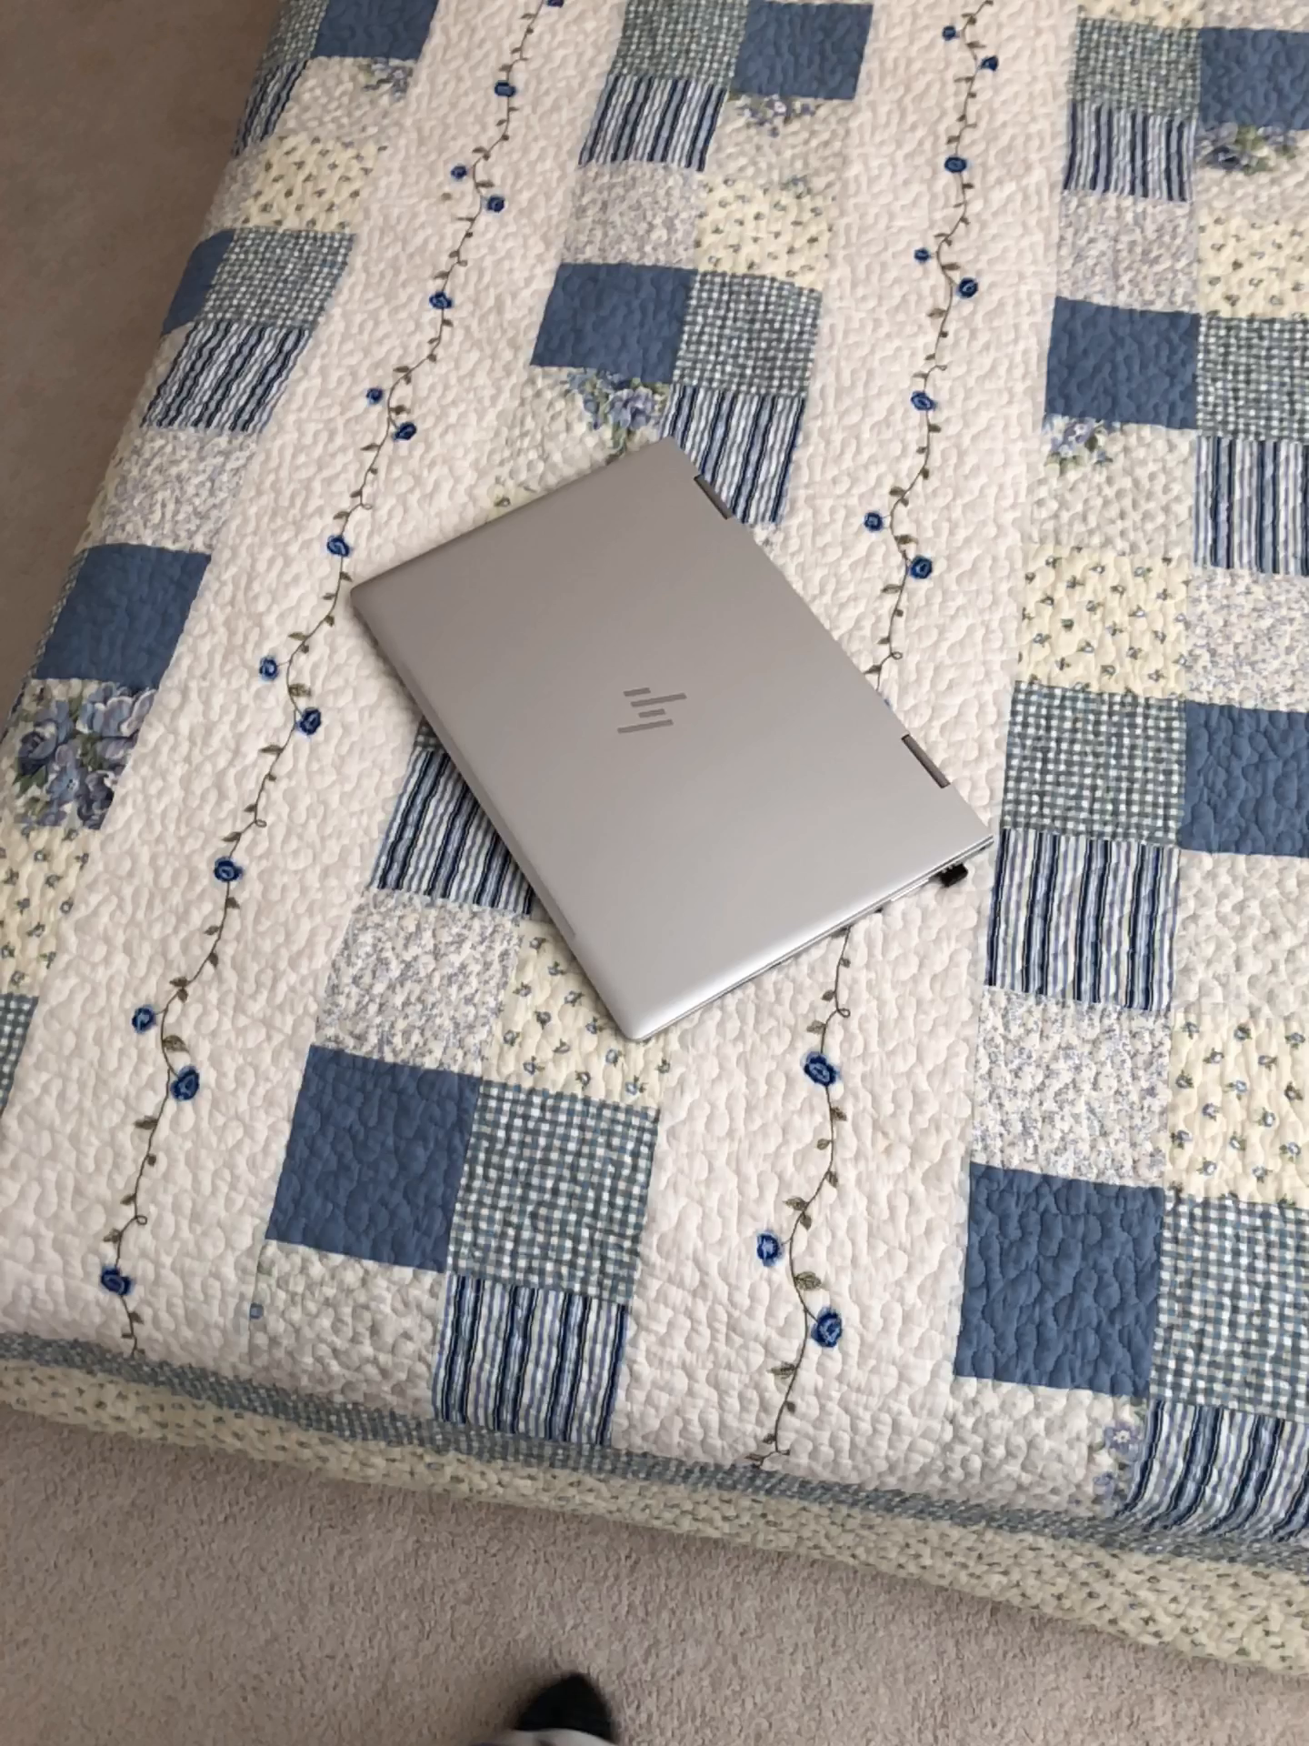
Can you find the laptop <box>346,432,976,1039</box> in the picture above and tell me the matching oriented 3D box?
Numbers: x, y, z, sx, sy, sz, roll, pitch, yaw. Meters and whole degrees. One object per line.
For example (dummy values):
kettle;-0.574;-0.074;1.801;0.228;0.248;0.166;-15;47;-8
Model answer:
laptop;-0.006;-0.112;0.955;0.256;0.011;0.386;-29;66;-13
